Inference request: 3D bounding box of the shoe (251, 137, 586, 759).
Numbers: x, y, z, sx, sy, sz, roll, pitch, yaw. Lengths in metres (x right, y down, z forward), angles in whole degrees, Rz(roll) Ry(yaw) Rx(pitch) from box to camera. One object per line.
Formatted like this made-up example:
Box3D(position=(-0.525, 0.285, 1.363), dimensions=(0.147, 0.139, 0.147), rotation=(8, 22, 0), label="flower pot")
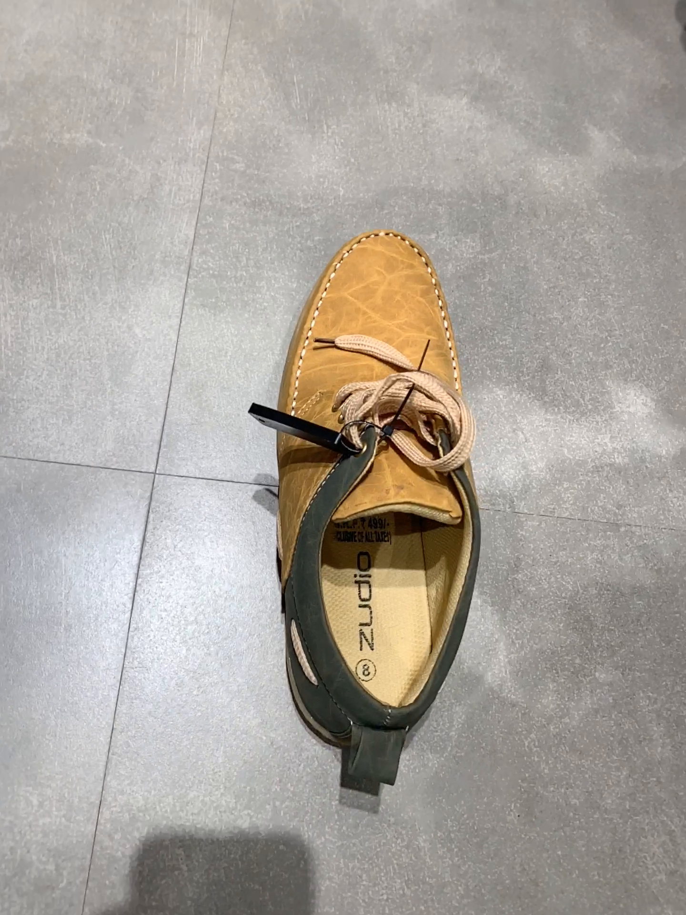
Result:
Box3D(position=(0.023, -0.001, 0.342), dimensions=(0.111, 0.117, 0.267), rotation=(5, 68, -9), label="shoe")
